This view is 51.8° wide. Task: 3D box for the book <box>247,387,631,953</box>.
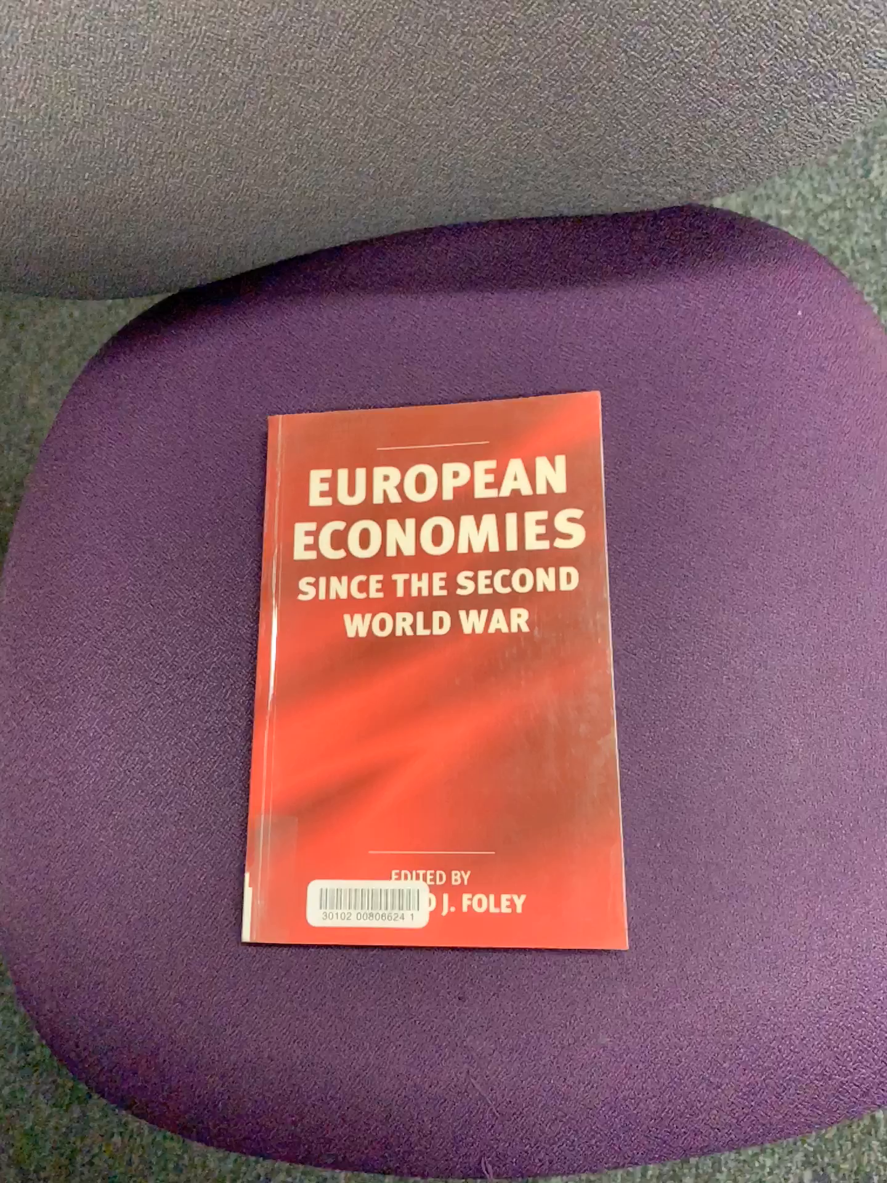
[{"bbox_3d":[-0.003,0.028,0.383,0.148,0.020,0.225,-3,76,10],"label":"book"}]
